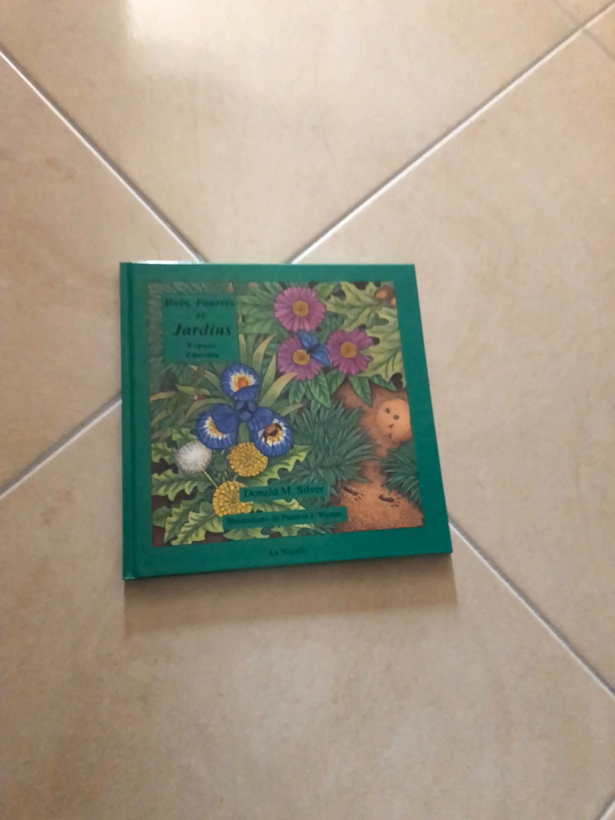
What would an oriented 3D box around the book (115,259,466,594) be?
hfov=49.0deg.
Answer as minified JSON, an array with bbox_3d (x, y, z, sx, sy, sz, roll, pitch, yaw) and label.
[{"bbox_3d":[-0.017,0.003,0.506,0.240,0.030,0.240,-2,75,-11],"label":"book"}]
